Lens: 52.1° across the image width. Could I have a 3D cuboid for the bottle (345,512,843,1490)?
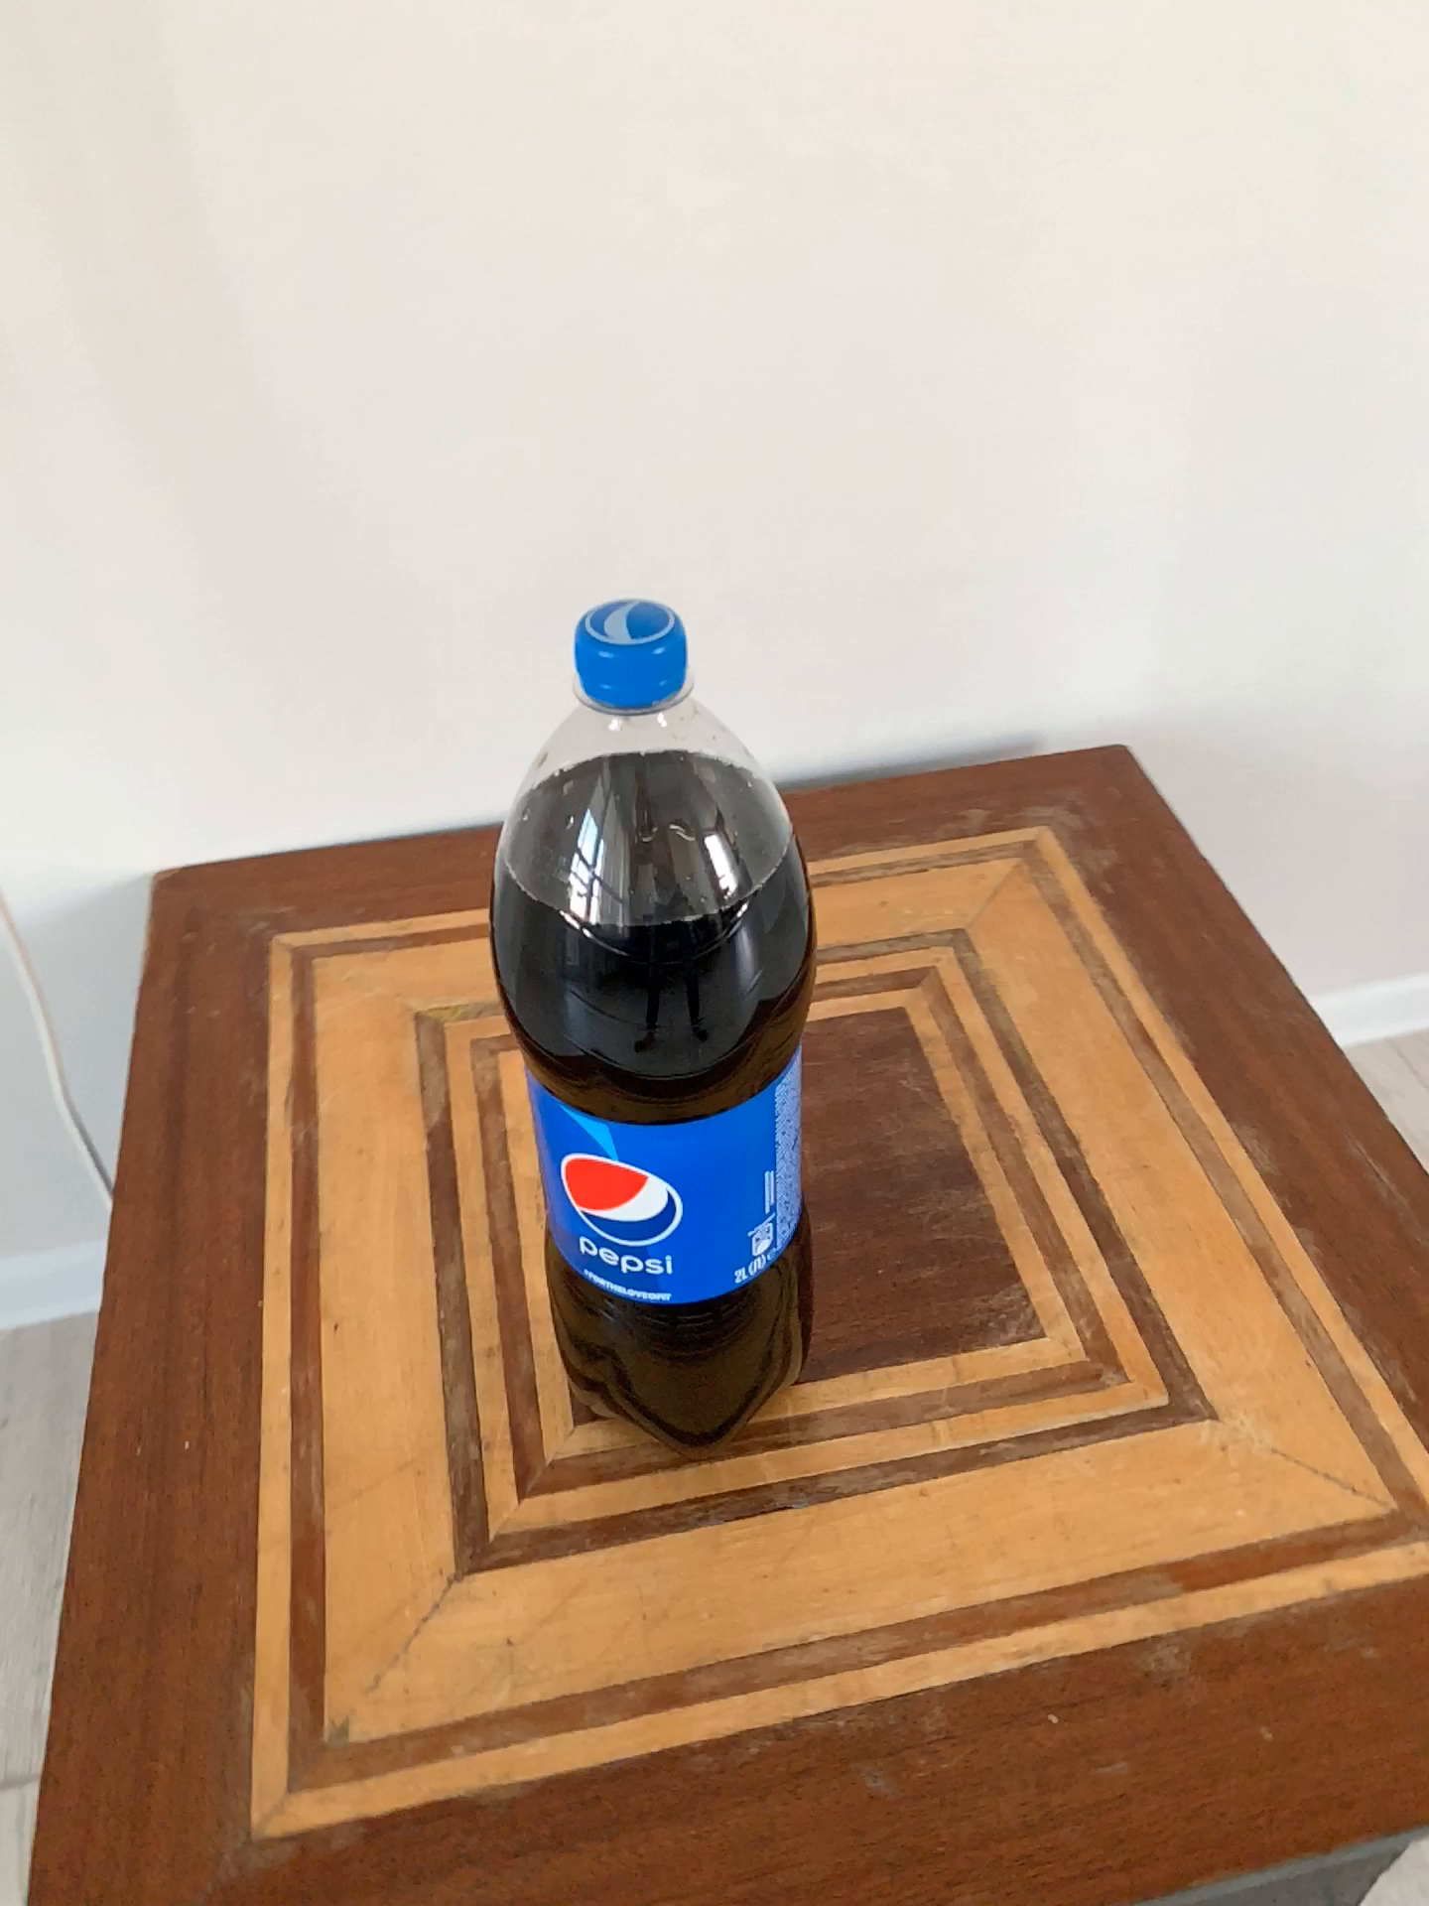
[{"bbox_3d":[-0.022,0.039,0.490,0.100,0.338,0.100,-1,43,1],"label":"bottle"}]
